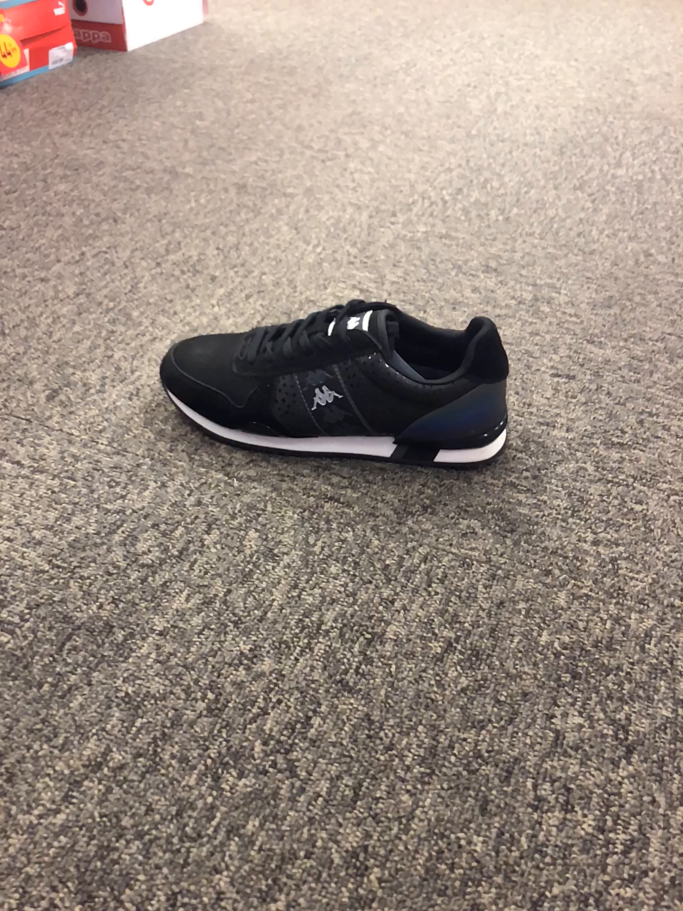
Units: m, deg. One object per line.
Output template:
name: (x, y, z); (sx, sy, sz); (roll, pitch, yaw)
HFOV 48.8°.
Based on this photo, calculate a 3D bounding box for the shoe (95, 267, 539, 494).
shoe: (-0.011, -0.058, 0.520); (0.274, 0.089, 0.101); (7, 40, 13)
